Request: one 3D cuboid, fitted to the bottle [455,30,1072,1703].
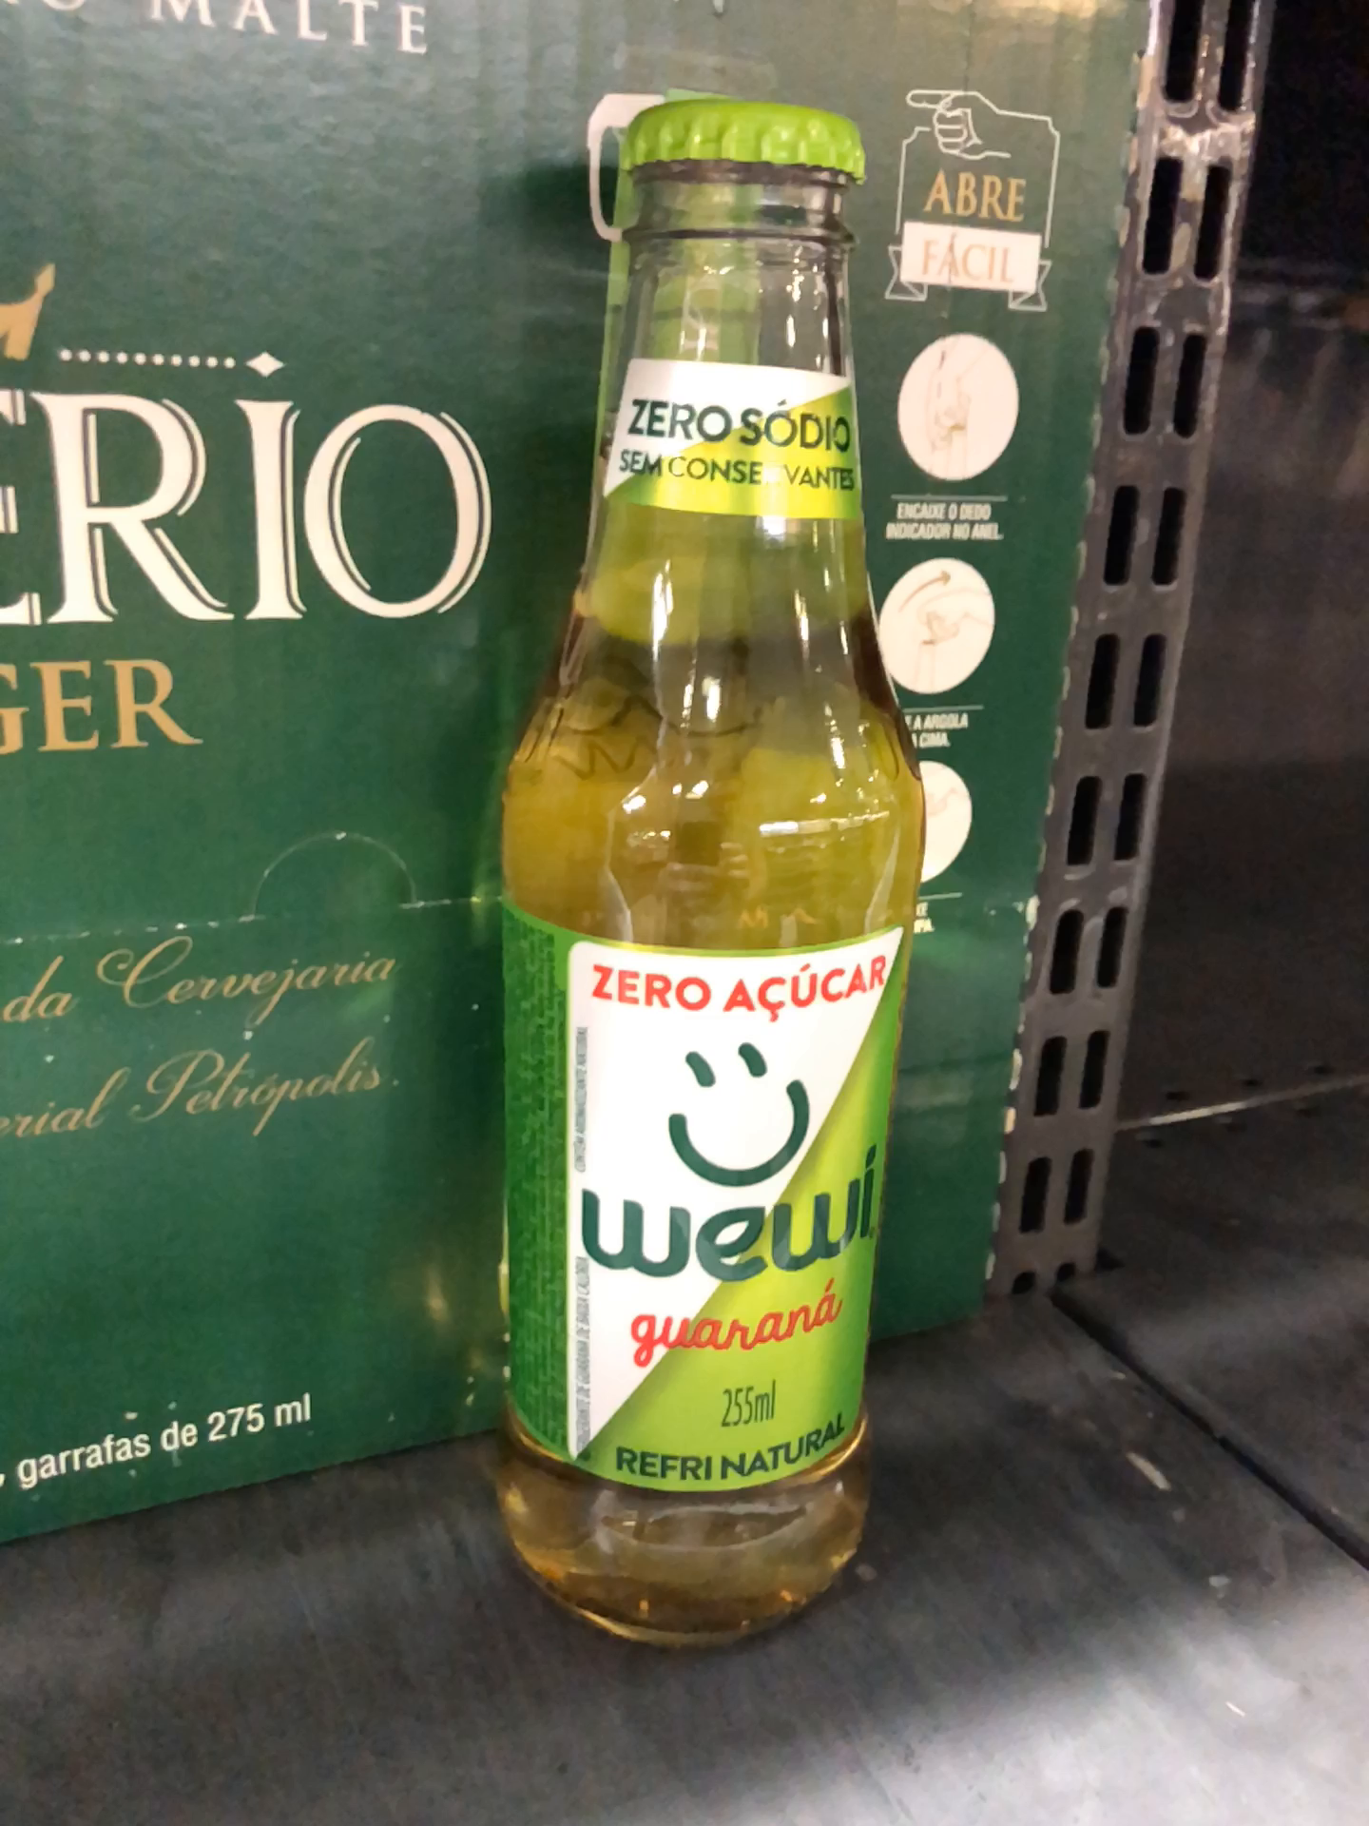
[{"bbox_3d":[0.001,0.002,0.205,0.060,0.199,0.050,-1,18,-11],"label":"bottle"}]
